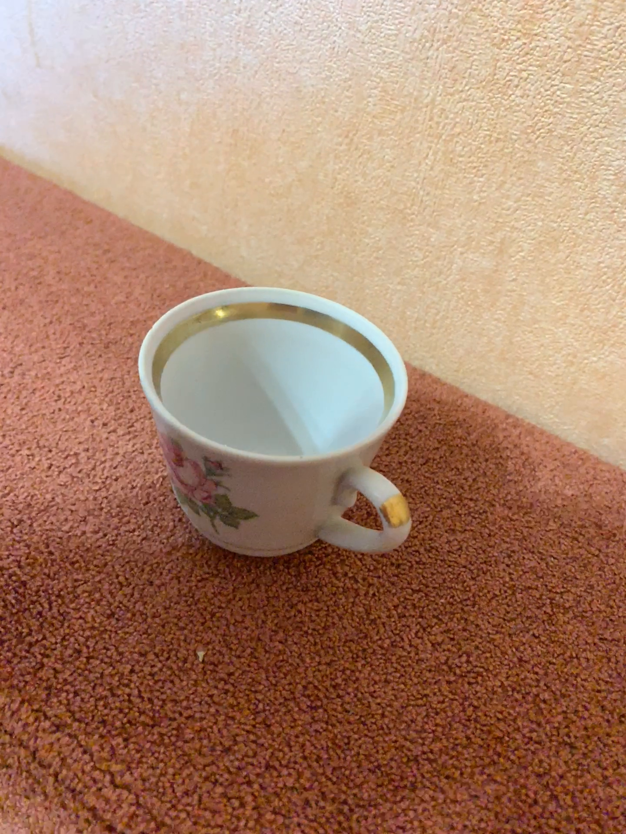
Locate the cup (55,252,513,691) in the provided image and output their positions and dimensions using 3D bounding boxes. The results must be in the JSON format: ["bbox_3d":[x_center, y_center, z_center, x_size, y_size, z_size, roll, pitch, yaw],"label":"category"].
[{"bbox_3d":[-0.010,0.007,0.169,0.067,0.047,0.086,-31,55,-33],"label":"cup"}]
